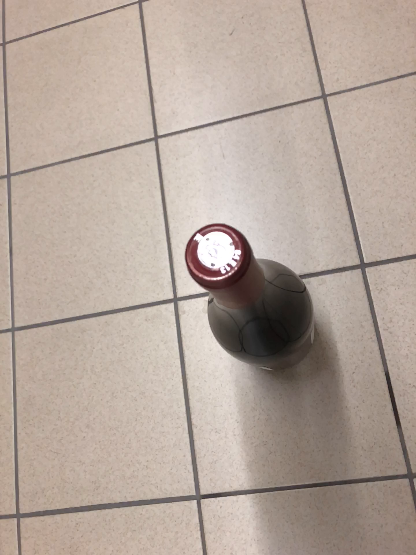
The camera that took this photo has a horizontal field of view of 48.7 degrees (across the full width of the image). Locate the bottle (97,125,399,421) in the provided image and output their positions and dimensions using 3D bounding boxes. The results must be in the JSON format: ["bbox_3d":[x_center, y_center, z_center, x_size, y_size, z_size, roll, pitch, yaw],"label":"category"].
[{"bbox_3d":[0.042,0.023,0.320,0.090,0.270,0.090,-3,77,13],"label":"bottle"}]
